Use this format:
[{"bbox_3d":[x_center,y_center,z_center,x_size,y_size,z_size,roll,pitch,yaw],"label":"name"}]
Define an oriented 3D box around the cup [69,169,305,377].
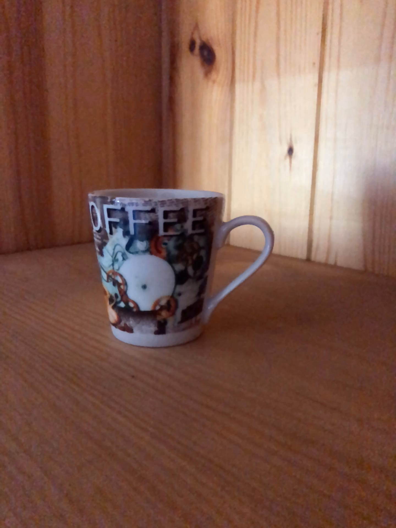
[{"bbox_3d":[-0.003,-0.005,0.193,0.080,0.070,0.060,7,14,26],"label":"cup"}]
